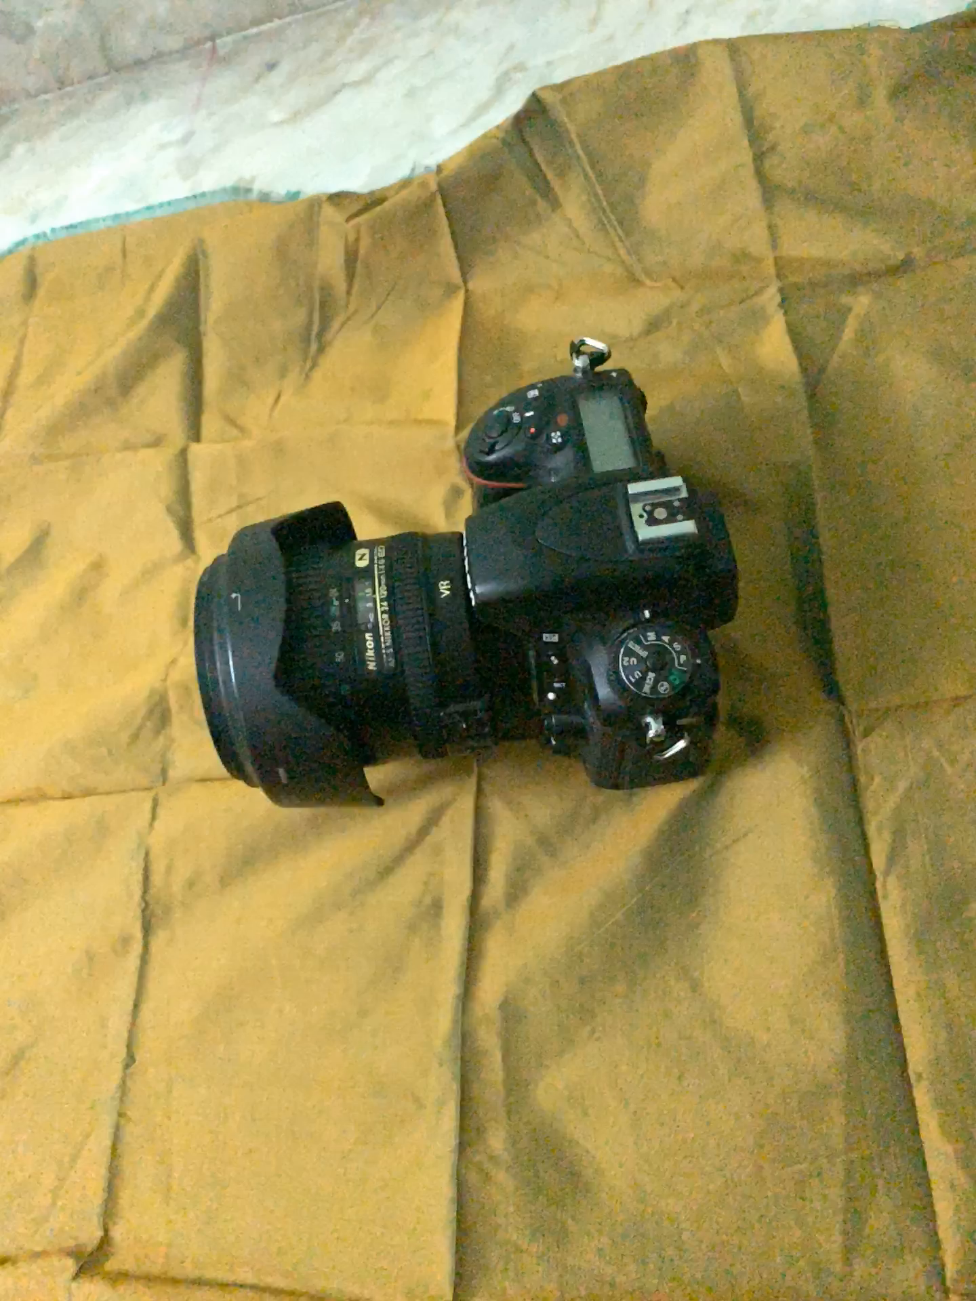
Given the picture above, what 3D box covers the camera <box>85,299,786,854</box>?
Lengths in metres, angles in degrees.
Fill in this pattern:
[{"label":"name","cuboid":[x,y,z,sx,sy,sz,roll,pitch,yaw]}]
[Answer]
[{"label":"camera","cuboid":[-0.016,-0.020,0.348,0.193,0.100,0.140,-6,65,4]}]
